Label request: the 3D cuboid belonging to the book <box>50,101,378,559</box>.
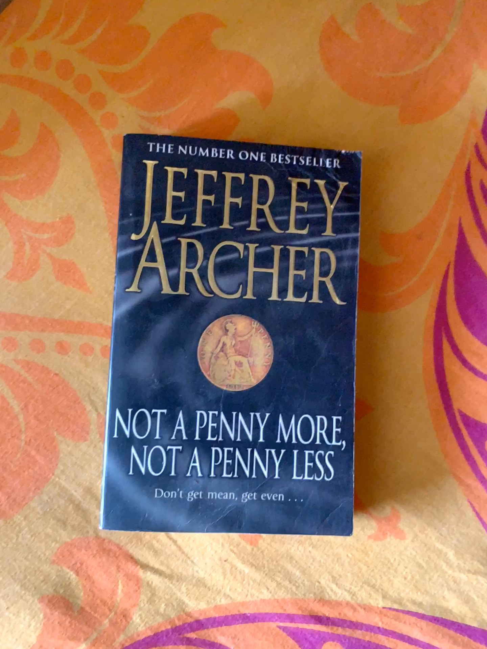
[{"bbox_3d":[-0.008,0.002,0.198,0.110,0.030,0.160,3,84,-5],"label":"book"}]
